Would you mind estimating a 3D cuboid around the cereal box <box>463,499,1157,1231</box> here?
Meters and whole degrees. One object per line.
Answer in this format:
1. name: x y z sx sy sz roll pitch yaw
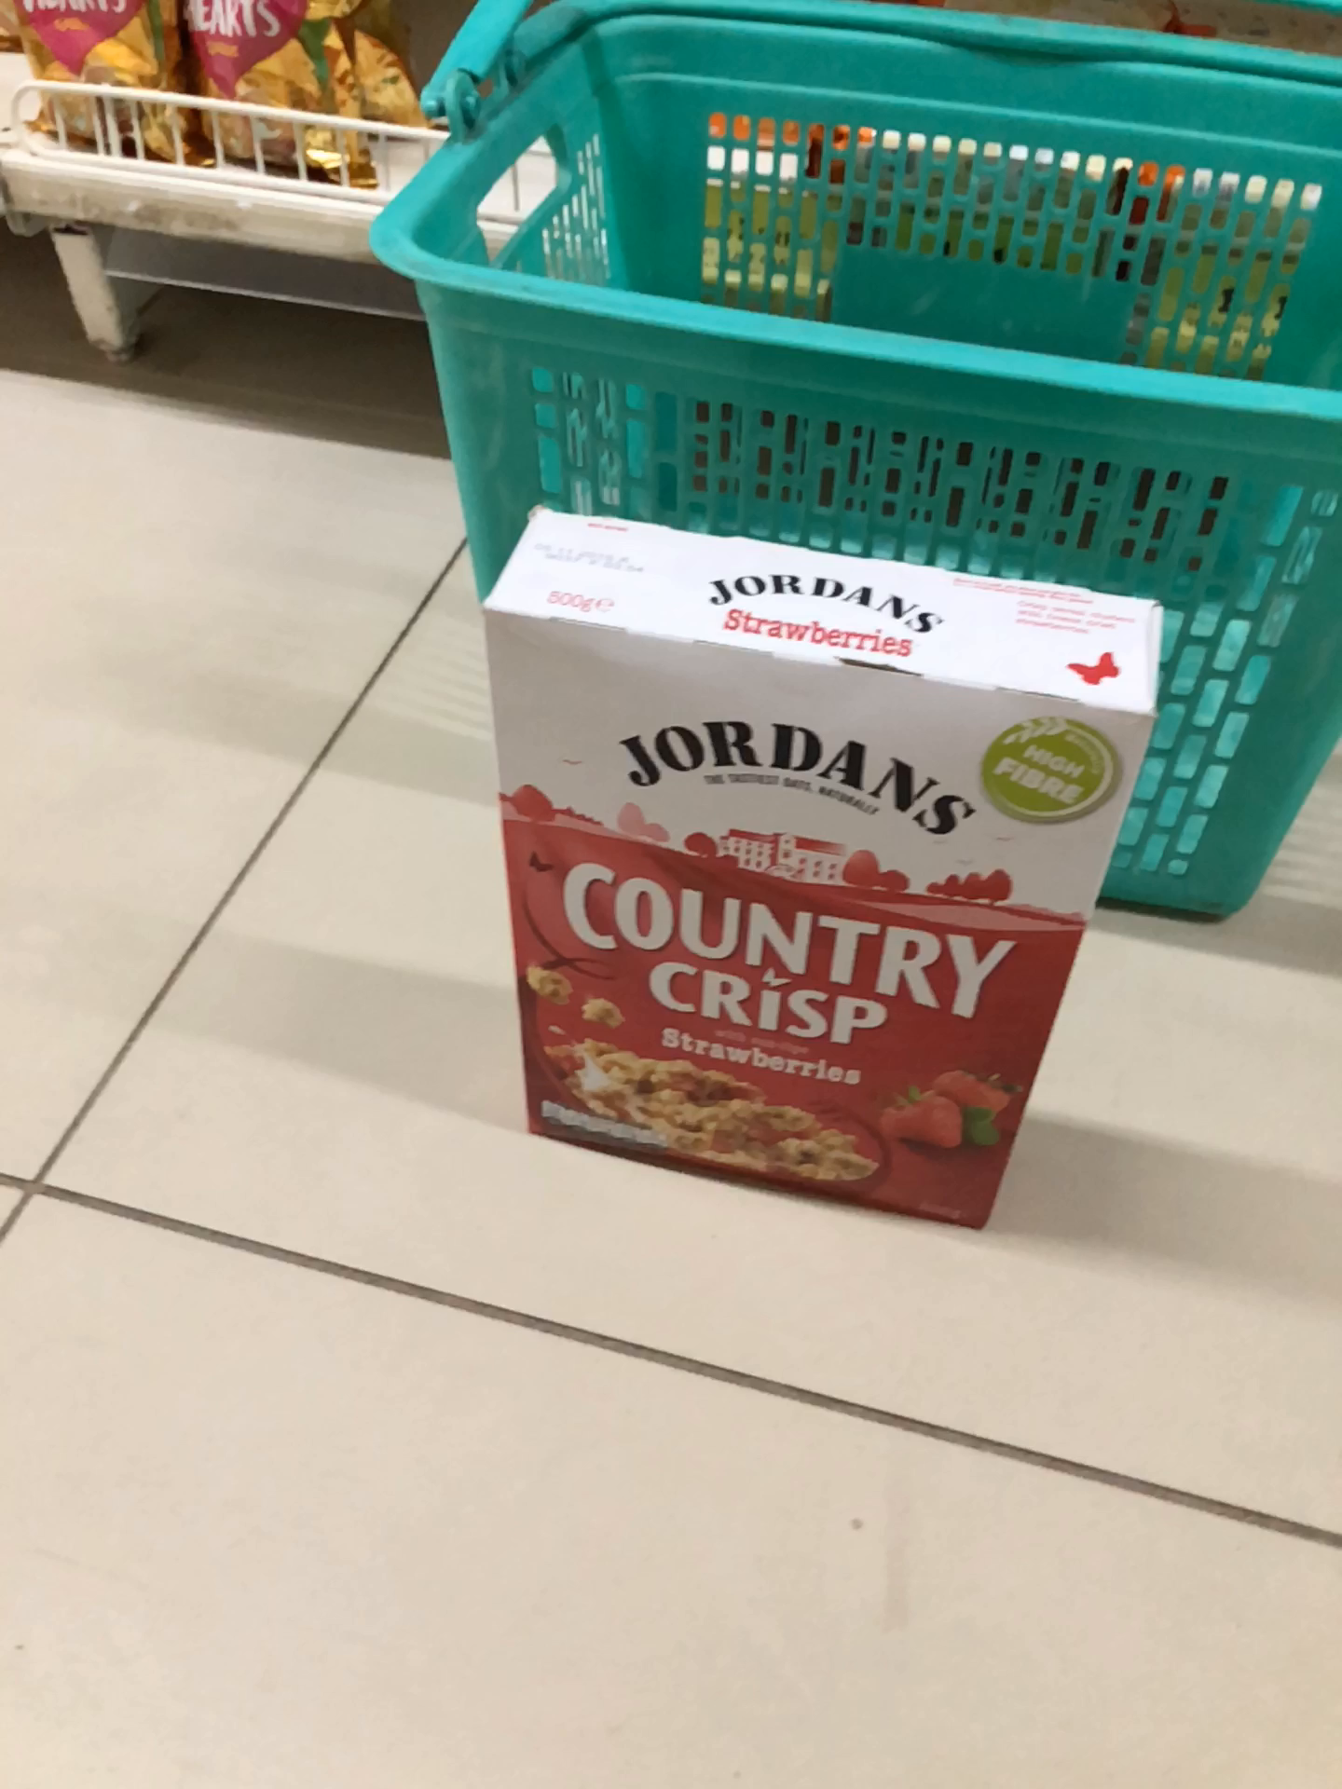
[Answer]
1. cereal box: 0.038 0.005 0.487 0.180 0.248 0.050 10 47 9
